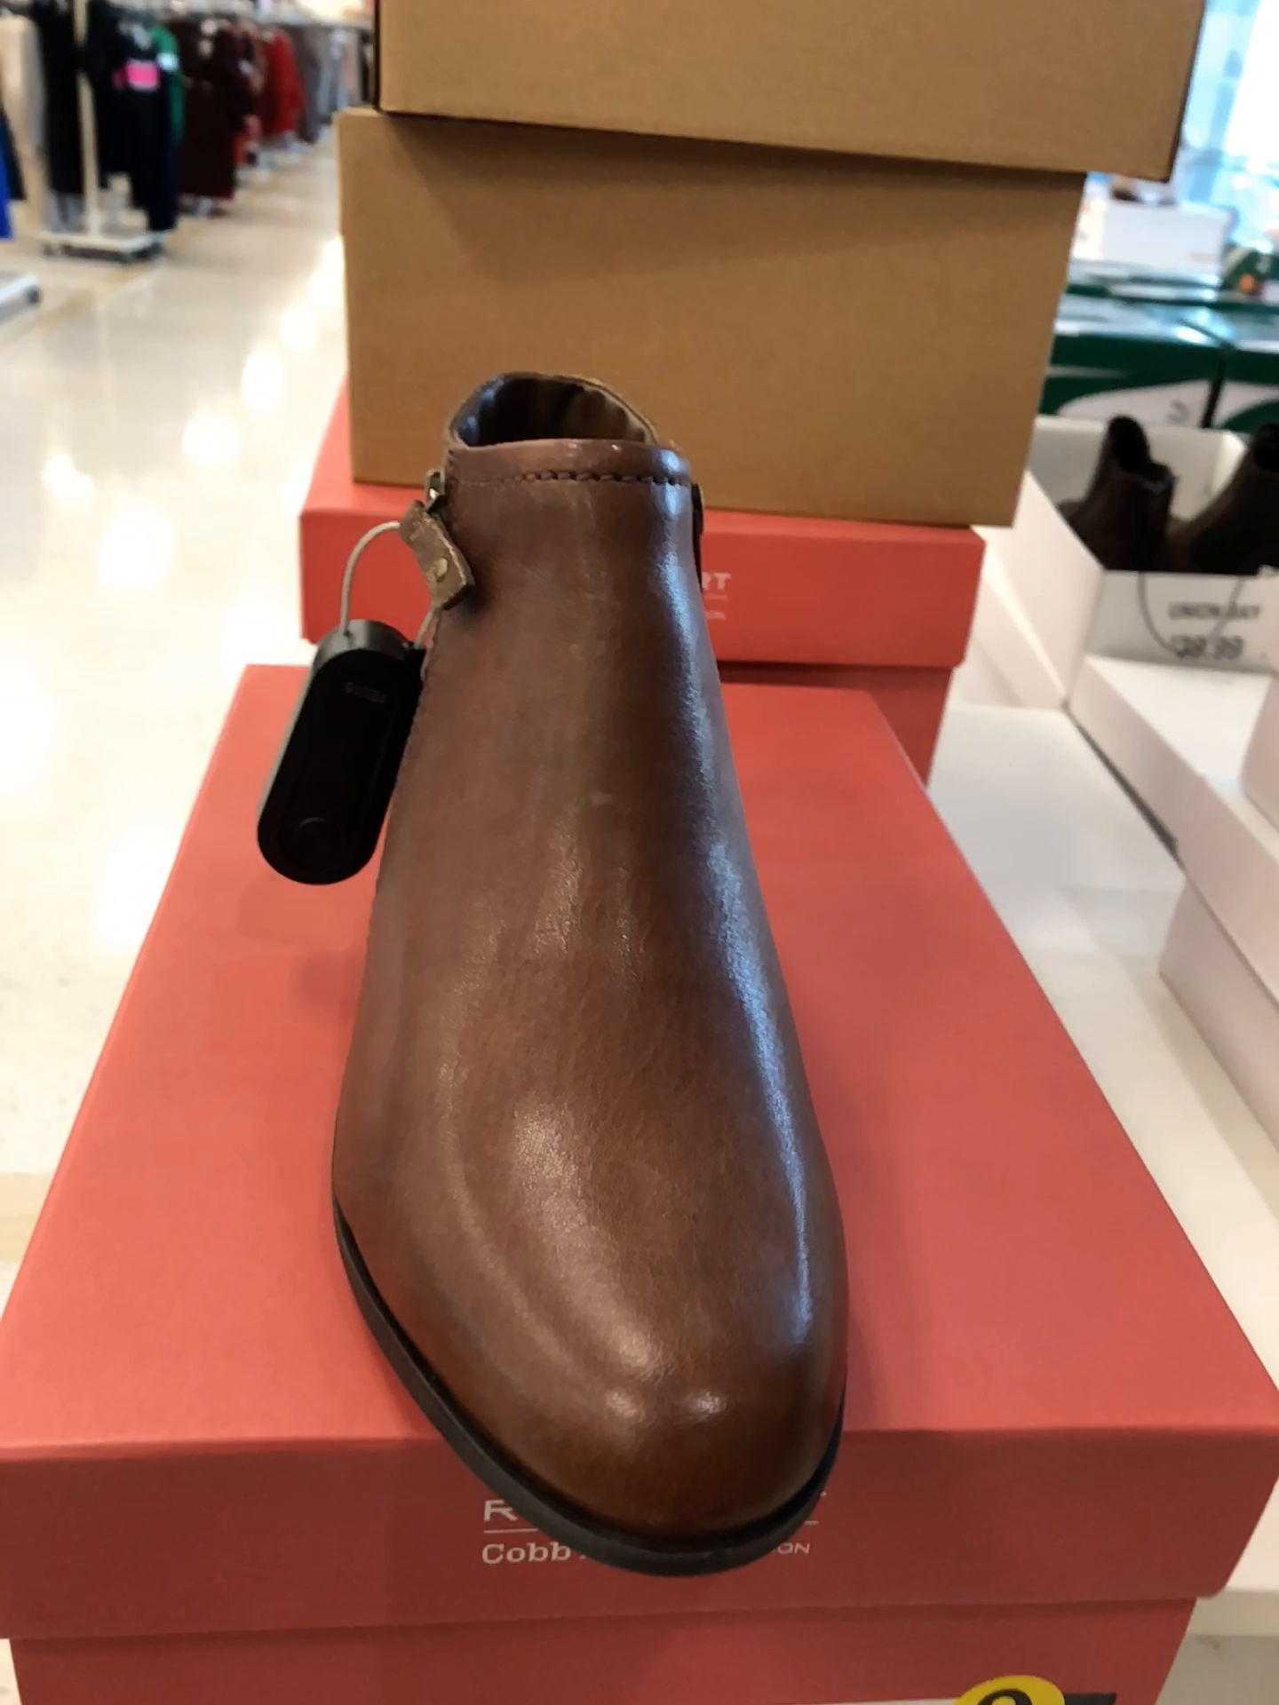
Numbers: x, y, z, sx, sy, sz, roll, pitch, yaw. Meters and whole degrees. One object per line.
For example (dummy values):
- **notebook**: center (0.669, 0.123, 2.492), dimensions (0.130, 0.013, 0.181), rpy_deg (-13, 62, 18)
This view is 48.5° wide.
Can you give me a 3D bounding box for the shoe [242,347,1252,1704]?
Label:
- **shoe**: center (-0.015, -0.009, 0.286), dimensions (0.101, 0.119, 0.282), rpy_deg (0, 30, -11)
